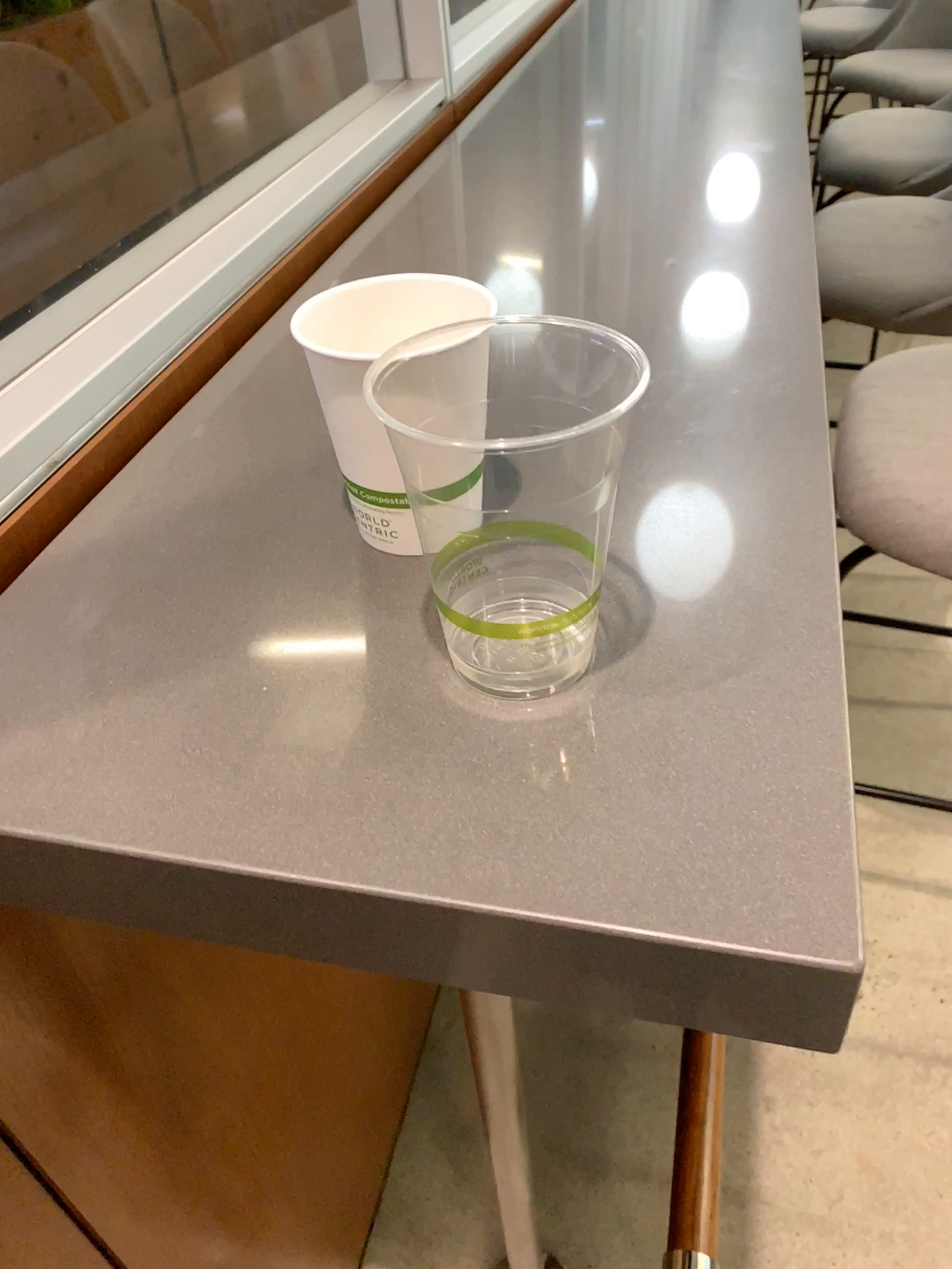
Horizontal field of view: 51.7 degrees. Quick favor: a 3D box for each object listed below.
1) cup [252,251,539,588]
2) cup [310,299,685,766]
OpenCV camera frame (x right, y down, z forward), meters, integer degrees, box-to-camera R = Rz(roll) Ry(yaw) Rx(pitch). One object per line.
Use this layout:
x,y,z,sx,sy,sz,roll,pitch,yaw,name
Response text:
-0.034,-0.102,0.456,0.090,0.109,0.080,-29,44,-25,cup
0.009,-0.039,0.359,0.090,0.119,0.091,-4,39,3,cup
